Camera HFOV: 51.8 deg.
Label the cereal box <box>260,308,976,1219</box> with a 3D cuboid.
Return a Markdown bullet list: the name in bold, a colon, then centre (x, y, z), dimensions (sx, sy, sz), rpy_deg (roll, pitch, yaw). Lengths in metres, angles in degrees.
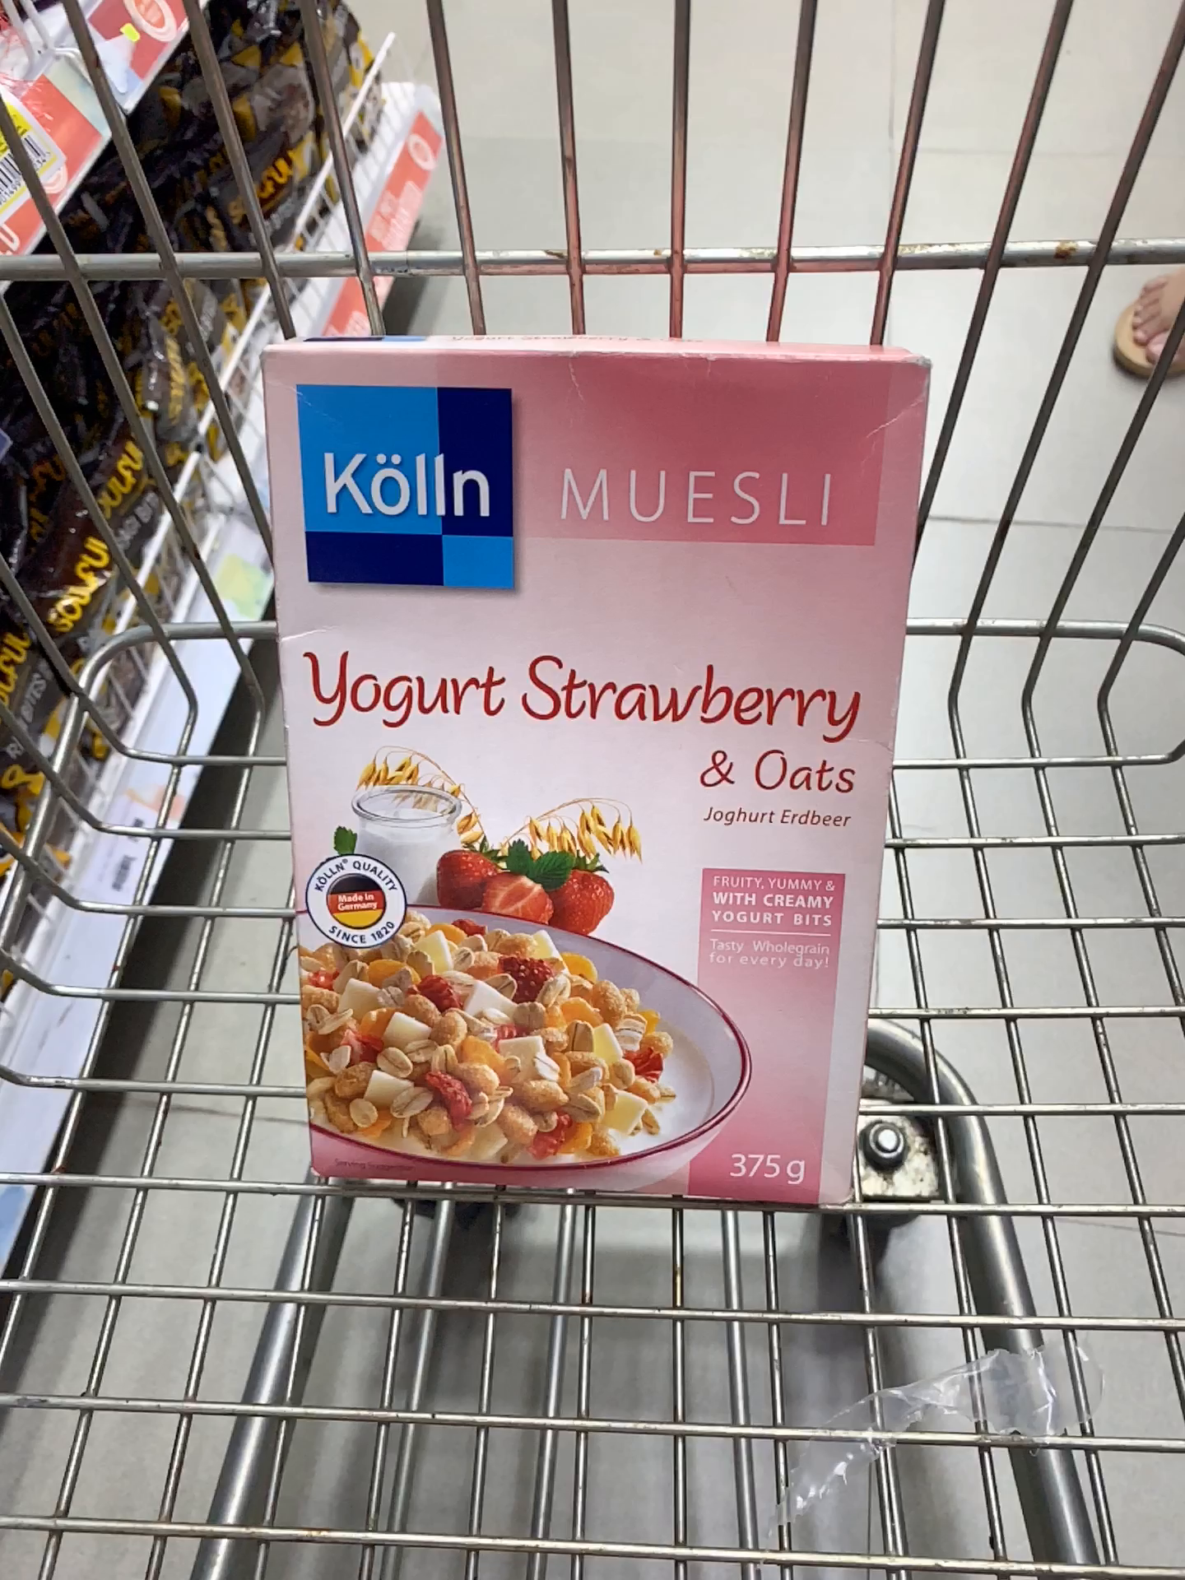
- **cereal box**: centre (0.004, -0.003, 0.313), dimensions (0.150, 0.220, 0.050), rpy_deg (2, 18, 3)
